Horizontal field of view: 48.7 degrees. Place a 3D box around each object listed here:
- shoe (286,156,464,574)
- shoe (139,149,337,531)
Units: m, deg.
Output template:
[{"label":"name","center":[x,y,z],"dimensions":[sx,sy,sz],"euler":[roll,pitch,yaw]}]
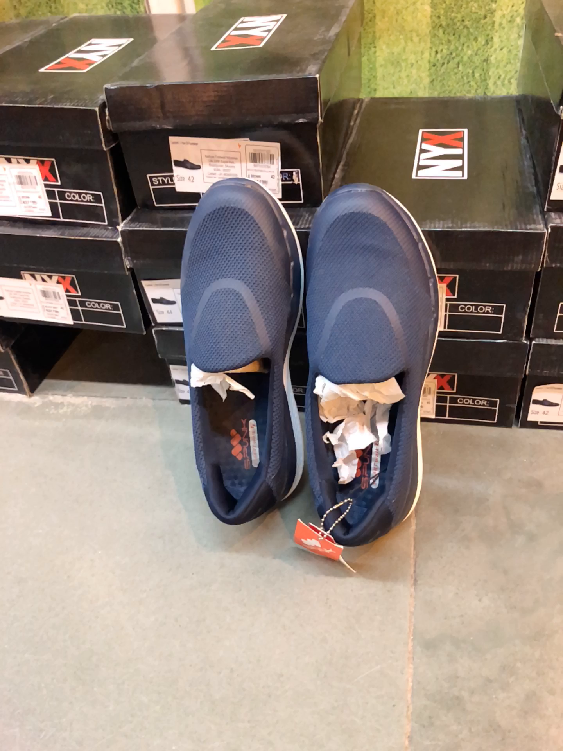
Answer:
[{"label":"shoe","center":[0.073,-0.009,0.455],"dimensions":[0.107,0.273,0.099],"euler":[1,14,14]},{"label":"shoe","center":[-0.024,-0.030,0.501],"dimensions":[0.109,0.273,0.110],"euler":[0,15,15]}]
